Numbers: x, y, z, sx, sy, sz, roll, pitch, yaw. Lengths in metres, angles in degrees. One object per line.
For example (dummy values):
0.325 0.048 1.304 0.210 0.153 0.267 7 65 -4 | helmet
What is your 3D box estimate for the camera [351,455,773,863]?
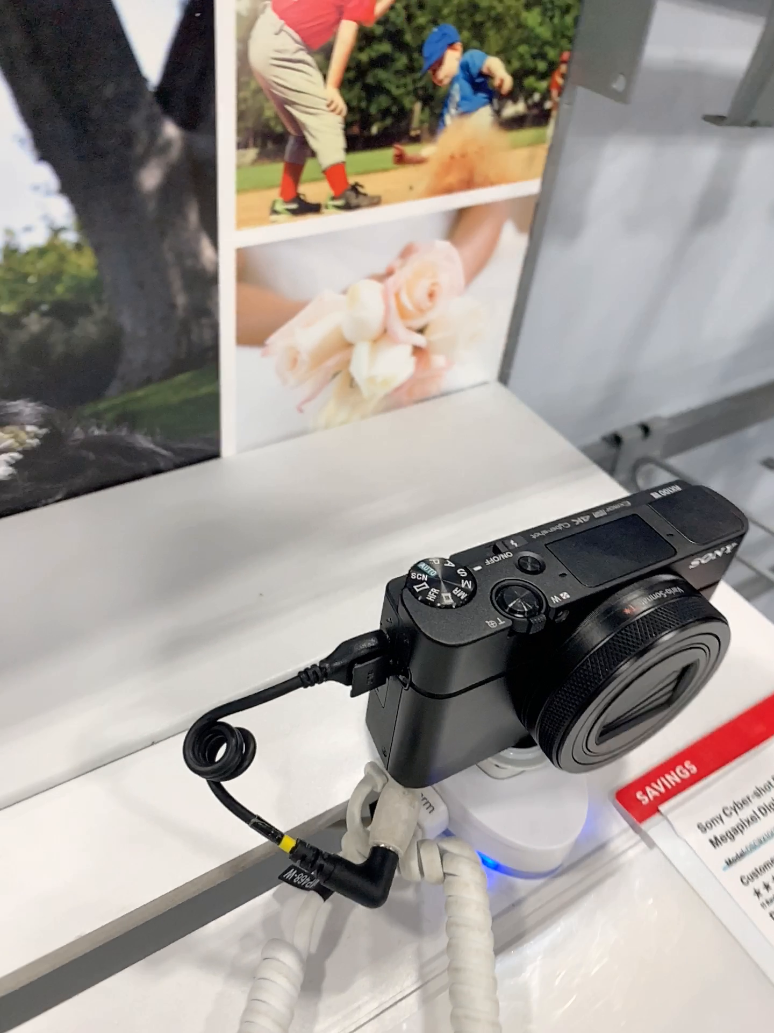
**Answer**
0.049 0.032 0.208 0.105 0.060 0.043 -17 46 -26 | camera
